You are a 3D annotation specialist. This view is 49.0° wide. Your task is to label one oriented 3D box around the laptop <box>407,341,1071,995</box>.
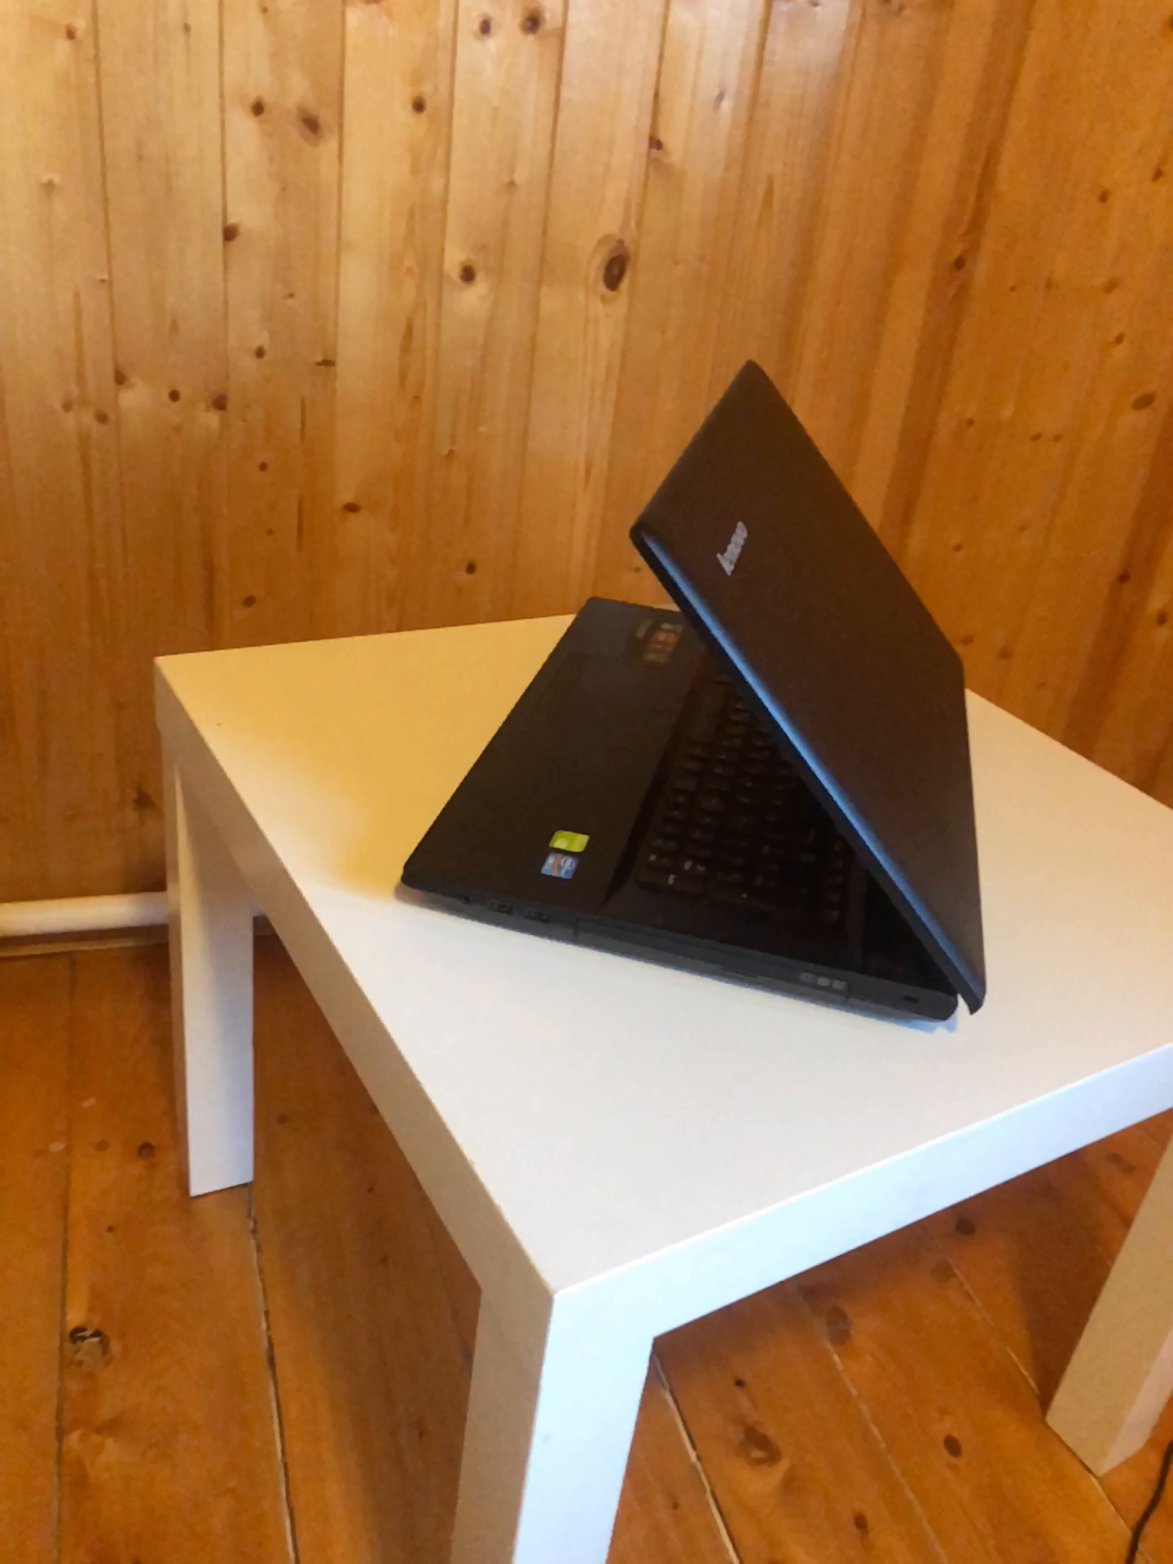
[{"bbox_3d":[0.096,-0.101,0.723,0.260,0.179,0.391,12,30,9],"label":"laptop"}]
